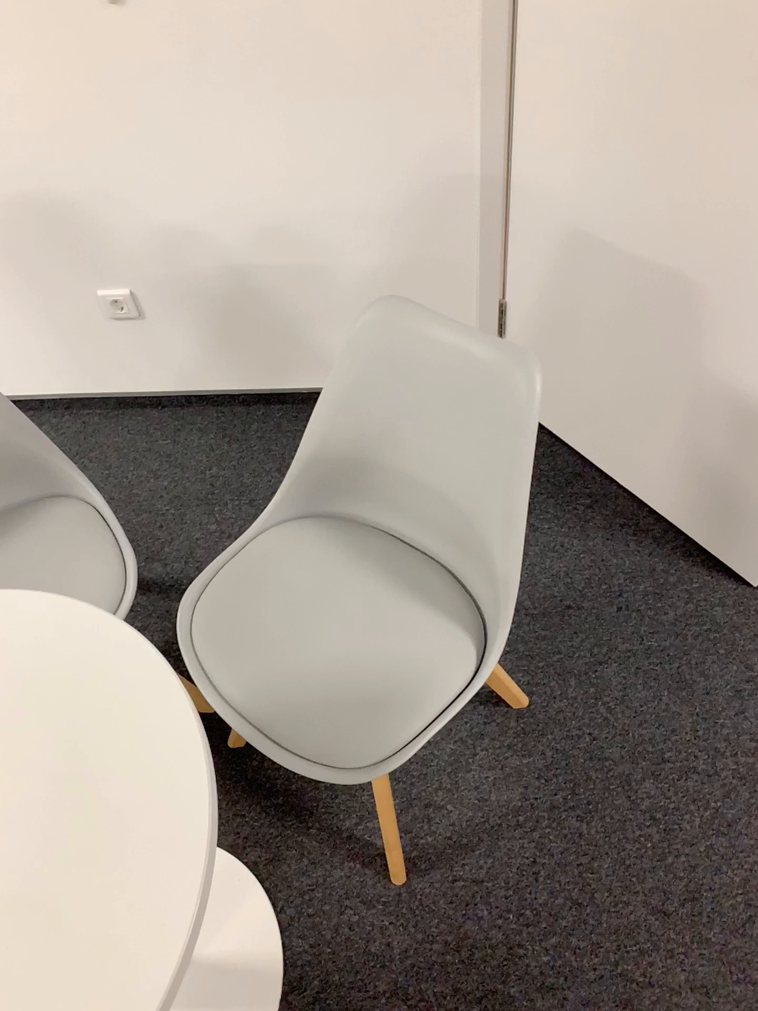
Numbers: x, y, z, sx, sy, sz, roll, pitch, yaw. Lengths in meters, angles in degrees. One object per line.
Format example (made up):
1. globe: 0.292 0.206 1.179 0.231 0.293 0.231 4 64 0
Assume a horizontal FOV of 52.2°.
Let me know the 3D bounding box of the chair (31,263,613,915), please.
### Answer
1. chair: -0.025 0.172 1.210 0.444 0.811 0.522 32 61 28
